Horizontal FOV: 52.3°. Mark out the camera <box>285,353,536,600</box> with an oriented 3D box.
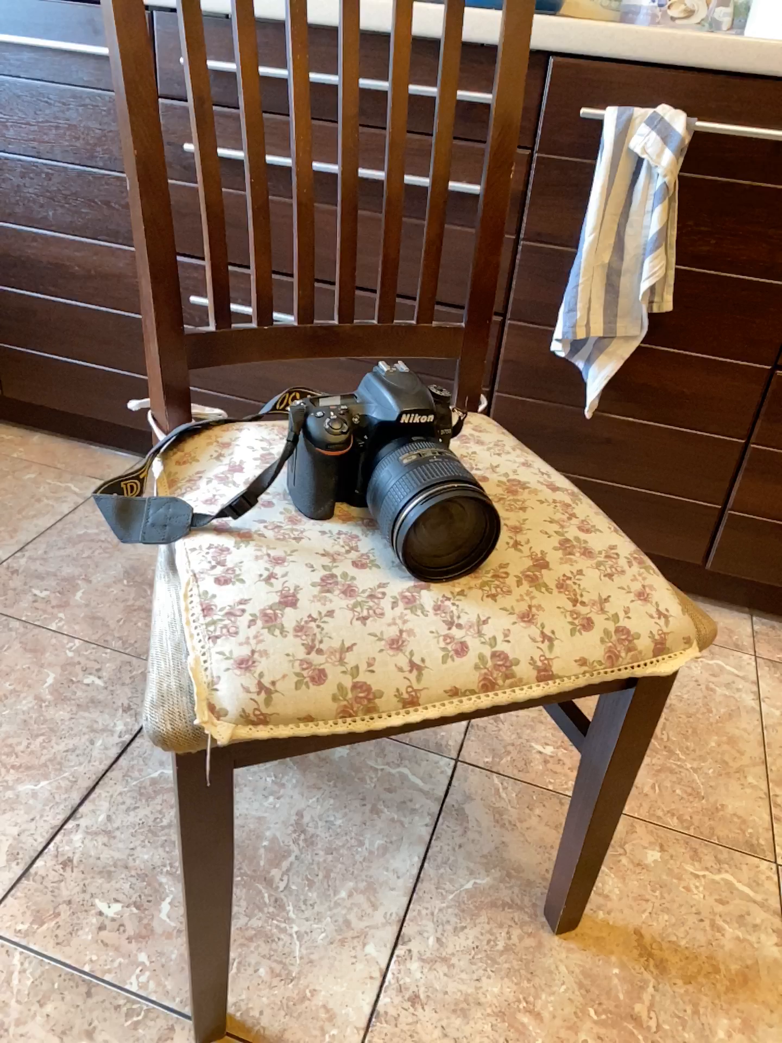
[{"bbox_3d":[0.004,-0.044,0.627,0.135,0.119,0.165,-7,33,-21],"label":"camera"}]
